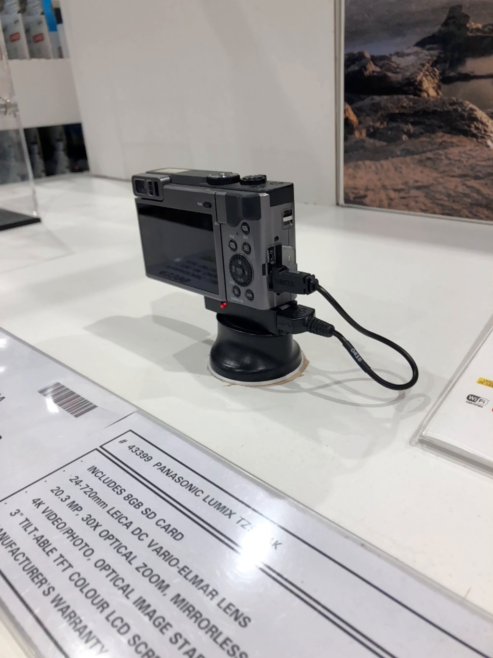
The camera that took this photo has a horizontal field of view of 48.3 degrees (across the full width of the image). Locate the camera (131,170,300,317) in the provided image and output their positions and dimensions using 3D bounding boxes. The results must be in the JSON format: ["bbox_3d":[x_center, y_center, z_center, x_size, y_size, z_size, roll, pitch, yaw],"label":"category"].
[{"bbox_3d":[-0.020,-0.054,0.319,0.030,0.065,0.107,-24,30,-38],"label":"camera"}]
